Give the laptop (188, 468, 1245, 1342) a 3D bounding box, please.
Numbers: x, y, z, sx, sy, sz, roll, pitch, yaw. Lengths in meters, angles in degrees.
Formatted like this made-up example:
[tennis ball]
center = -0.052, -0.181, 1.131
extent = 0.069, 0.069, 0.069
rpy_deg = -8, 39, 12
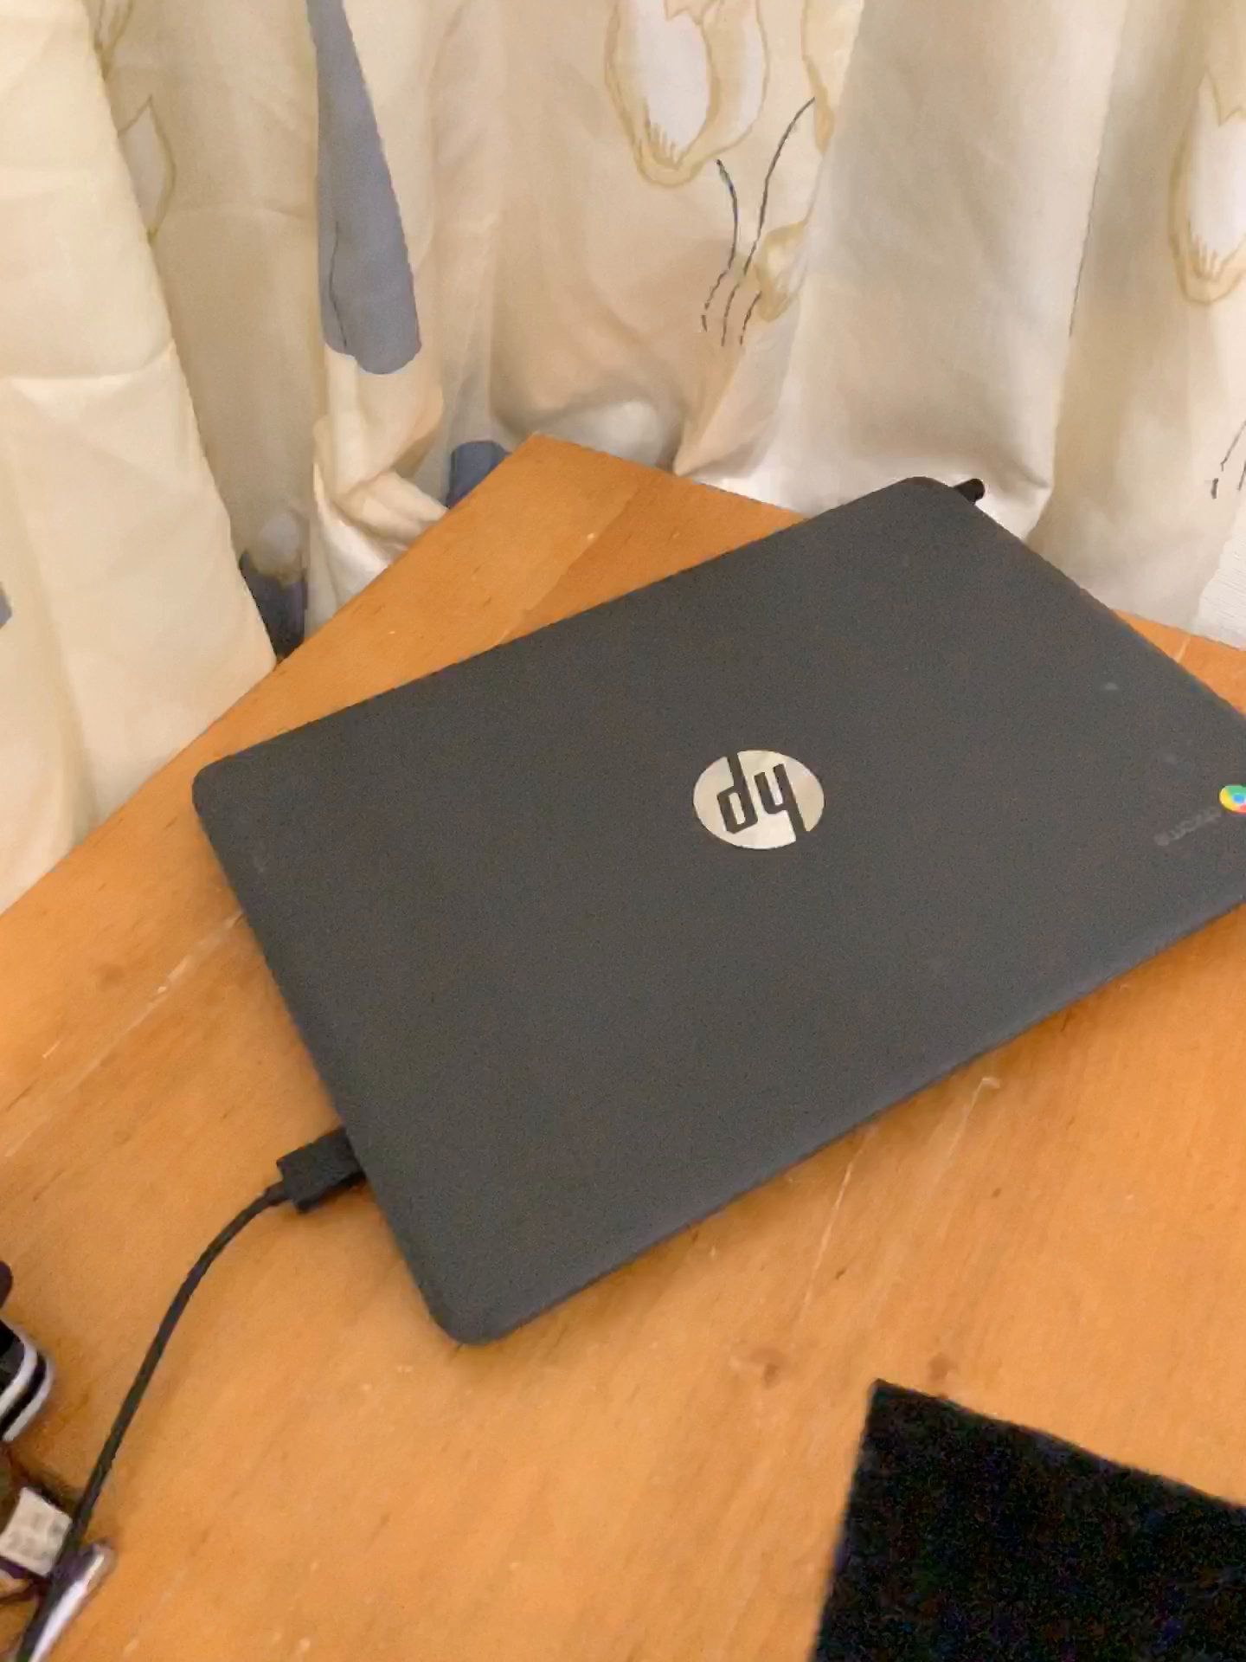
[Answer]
[laptop]
center = 0.034, -0.011, 0.349
extent = 0.261, 0.004, 0.185
rpy_deg = -25, 52, -16
